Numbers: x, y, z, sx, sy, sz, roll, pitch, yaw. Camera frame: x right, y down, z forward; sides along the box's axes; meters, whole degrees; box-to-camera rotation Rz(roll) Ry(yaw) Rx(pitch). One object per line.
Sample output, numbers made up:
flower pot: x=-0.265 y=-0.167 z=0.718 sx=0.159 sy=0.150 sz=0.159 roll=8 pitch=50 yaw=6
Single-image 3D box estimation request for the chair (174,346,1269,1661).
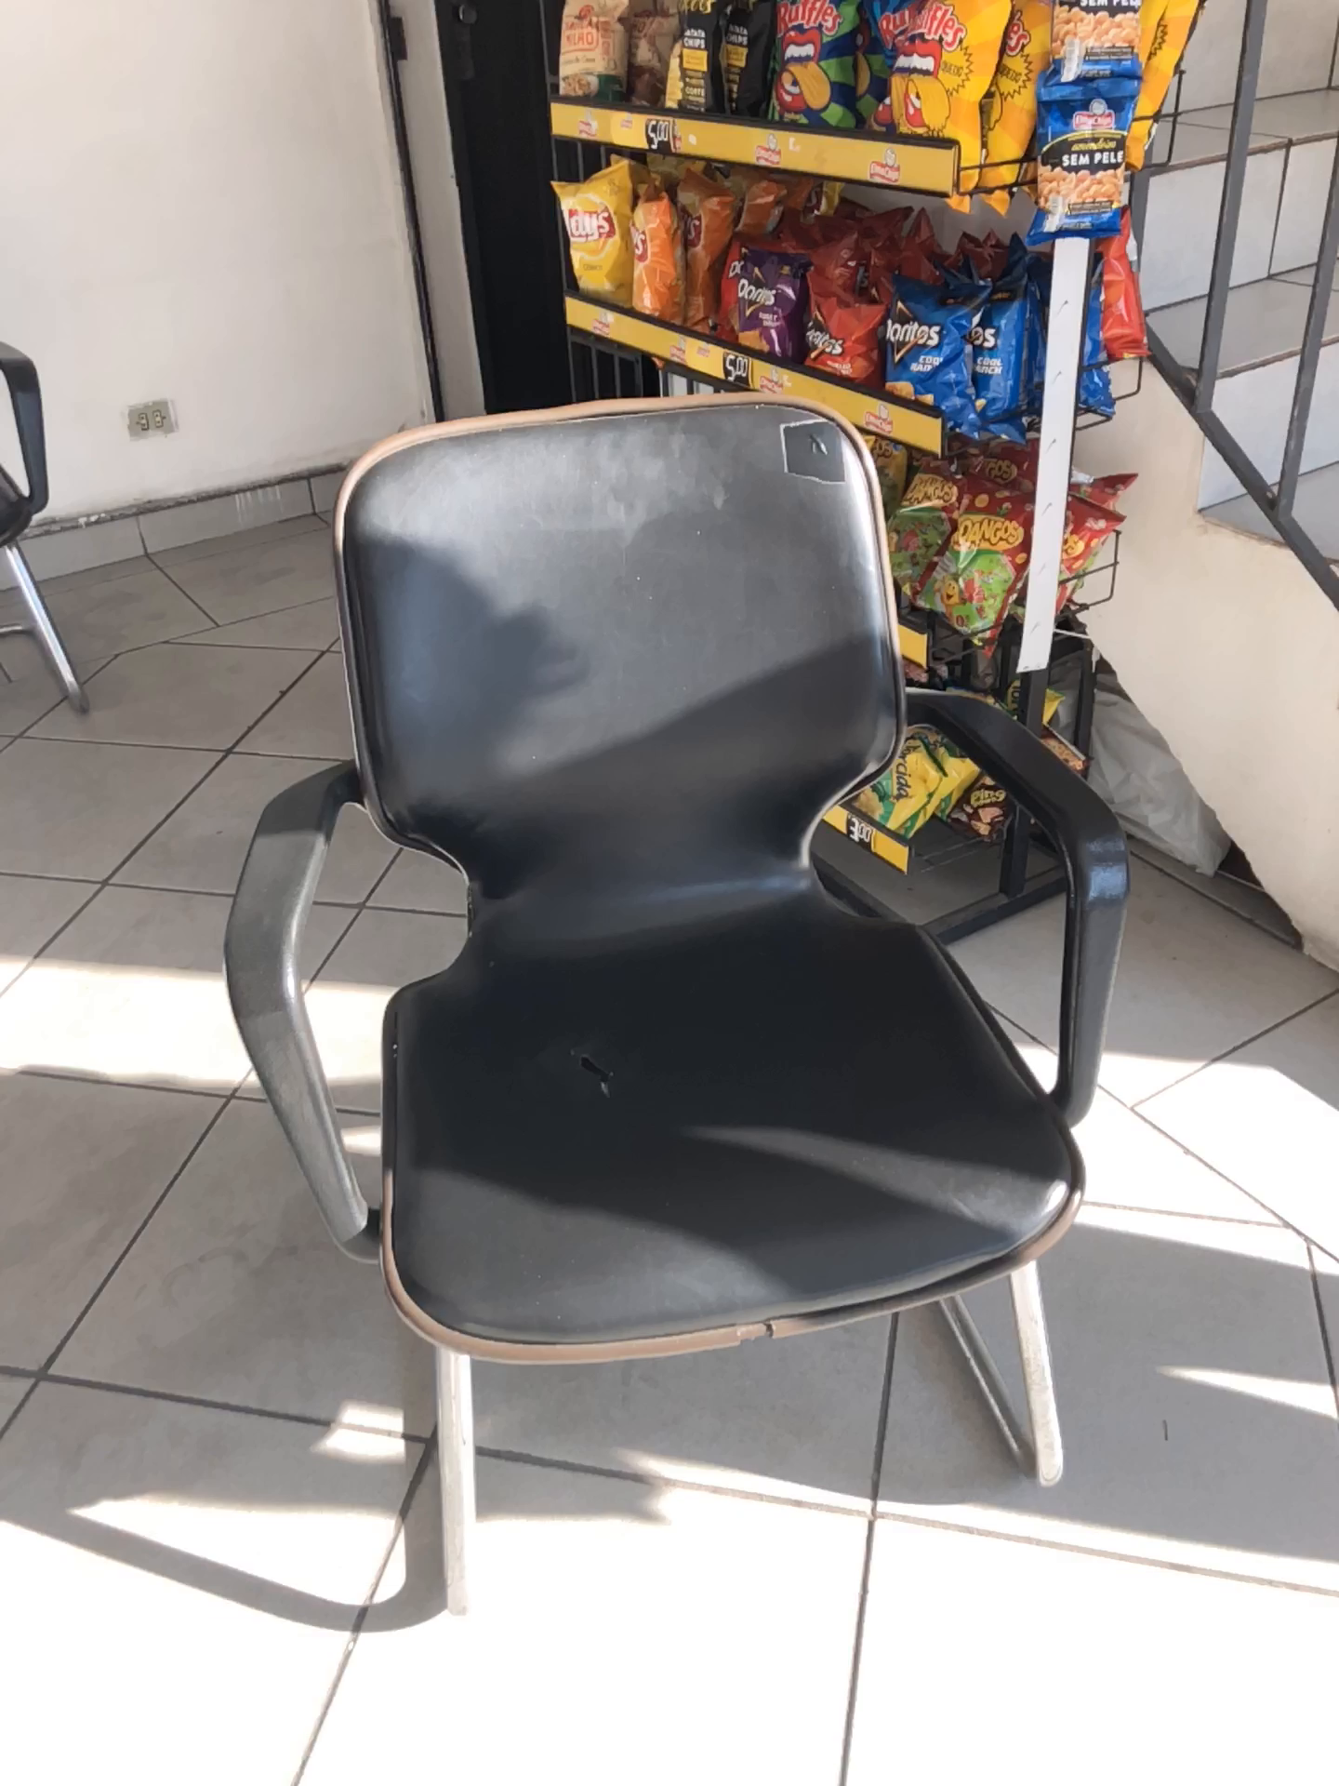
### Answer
chair: x=0.006 y=0.067 z=1.222 sx=0.580 sy=0.824 sz=0.584 roll=-9 pitch=33 yaw=-8
